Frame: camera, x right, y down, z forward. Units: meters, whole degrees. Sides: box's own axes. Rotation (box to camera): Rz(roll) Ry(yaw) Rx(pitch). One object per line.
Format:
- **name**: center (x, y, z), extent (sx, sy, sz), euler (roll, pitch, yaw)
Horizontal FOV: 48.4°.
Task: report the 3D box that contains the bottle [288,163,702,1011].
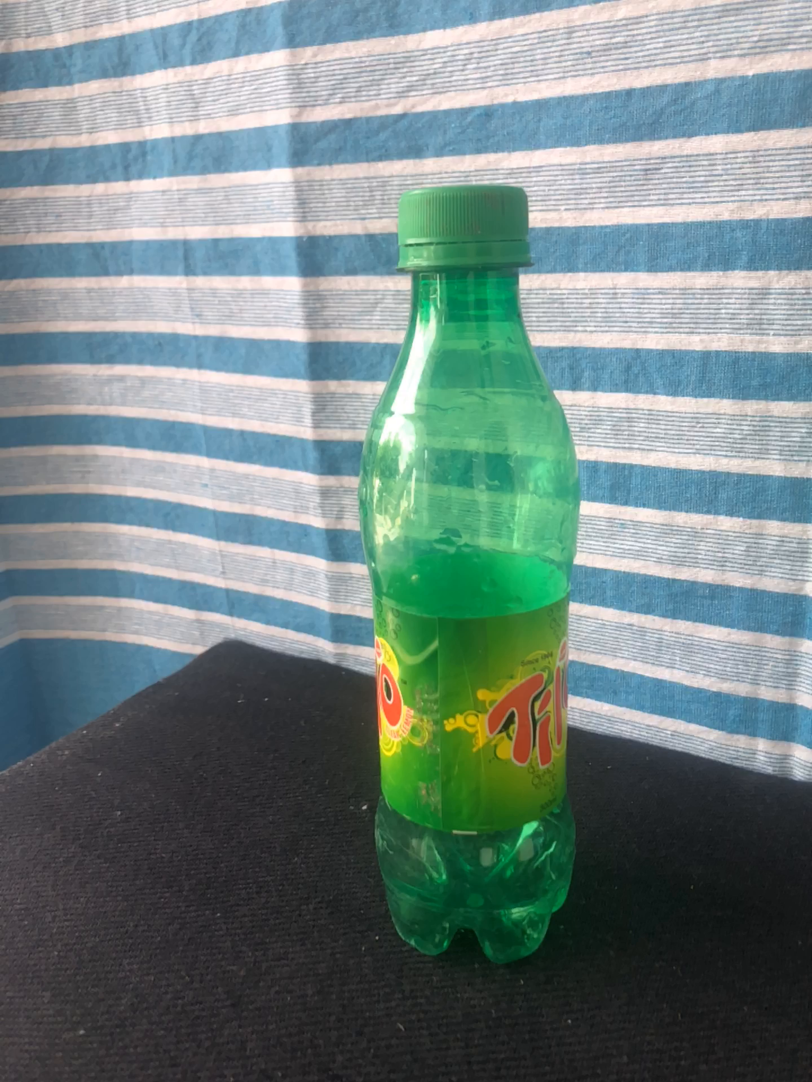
- **bottle**: center (0.016, 0.010, 0.239), extent (0.070, 0.199, 0.070), euler (0, 20, 0)
